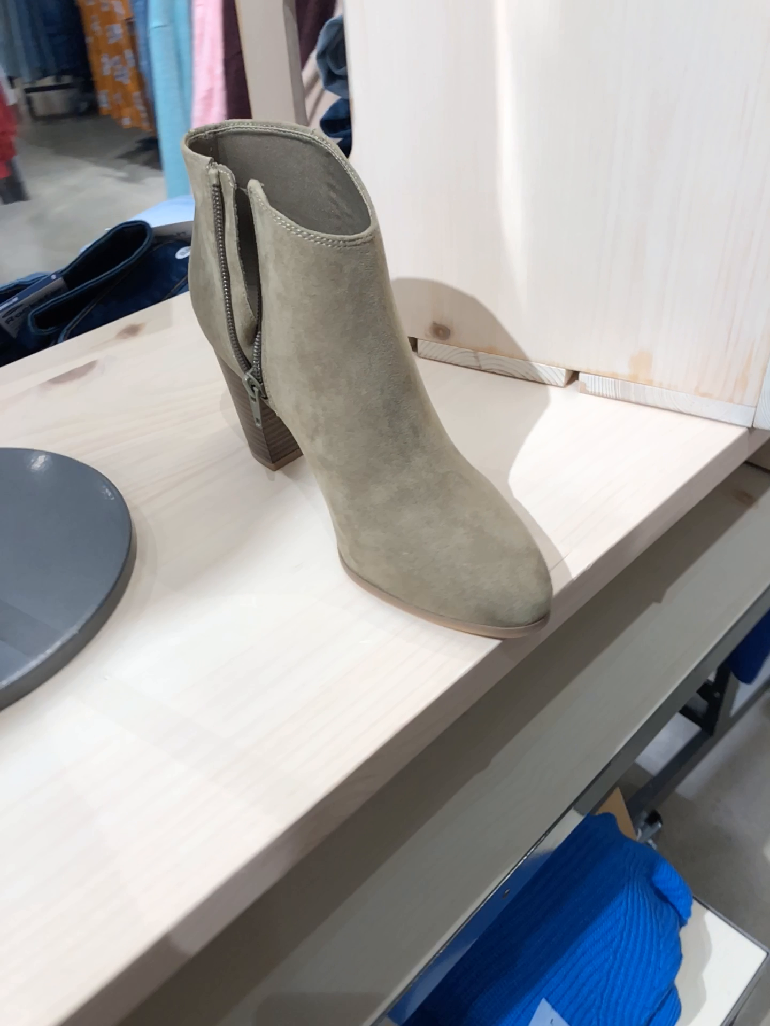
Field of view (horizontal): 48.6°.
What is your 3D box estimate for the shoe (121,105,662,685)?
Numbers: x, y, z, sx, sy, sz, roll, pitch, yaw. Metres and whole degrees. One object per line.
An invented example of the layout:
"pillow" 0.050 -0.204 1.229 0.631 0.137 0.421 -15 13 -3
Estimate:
"shoe" -0.009 -0.068 0.390 0.090 0.169 0.231 -28 44 -27
